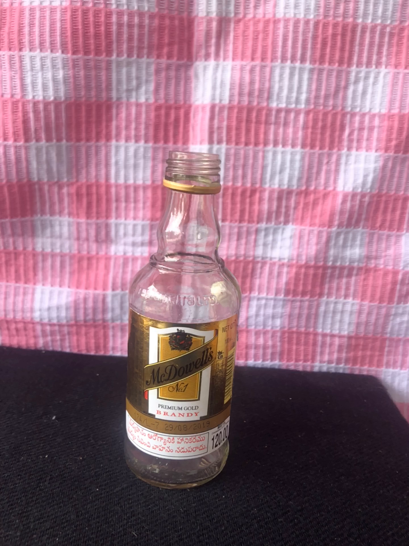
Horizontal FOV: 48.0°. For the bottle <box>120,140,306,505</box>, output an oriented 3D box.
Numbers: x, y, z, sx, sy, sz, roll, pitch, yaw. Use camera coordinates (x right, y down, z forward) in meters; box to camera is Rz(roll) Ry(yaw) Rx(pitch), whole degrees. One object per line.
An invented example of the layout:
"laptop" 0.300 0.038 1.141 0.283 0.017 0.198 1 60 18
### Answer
"bottle" 0.001 0.021 0.207 0.060 0.149 0.050 6 17 3
